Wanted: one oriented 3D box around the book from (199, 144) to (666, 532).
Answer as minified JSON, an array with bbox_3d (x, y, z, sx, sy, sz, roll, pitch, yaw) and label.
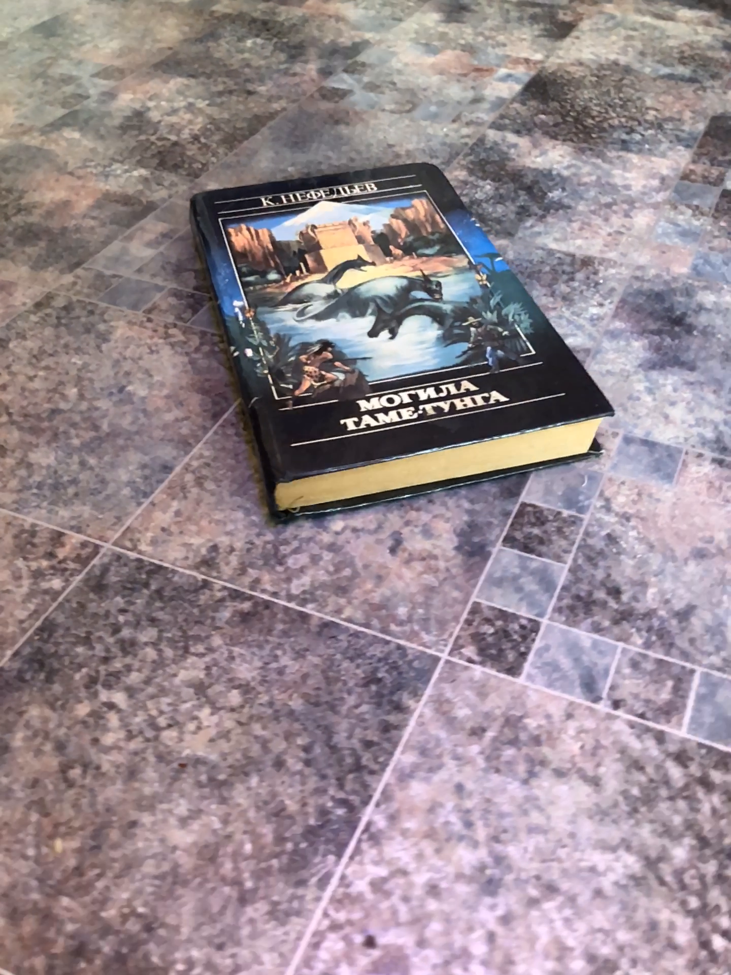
[{"bbox_3d":[0.013,-0.081,0.351,0.139,0.030,0.202,-11,50,-11],"label":"book"}]
